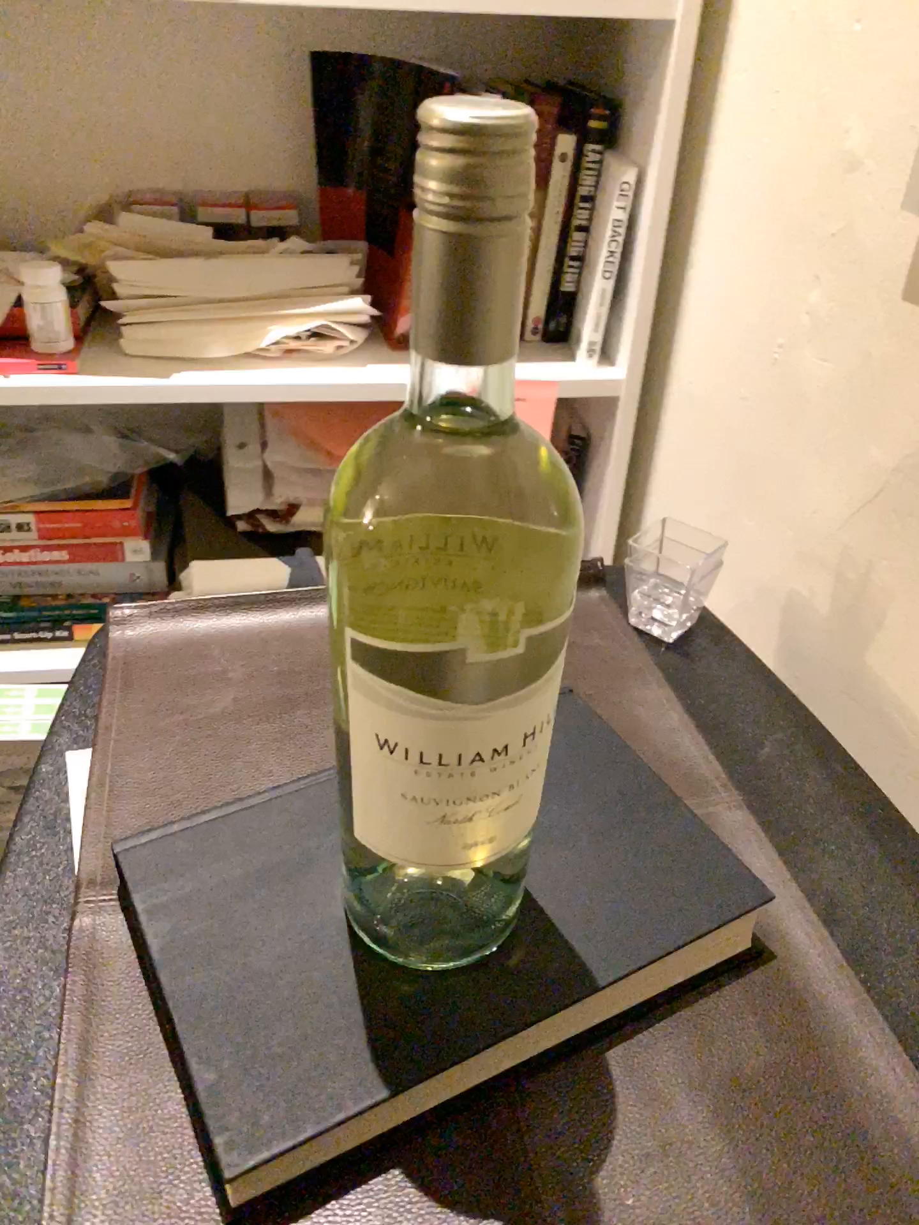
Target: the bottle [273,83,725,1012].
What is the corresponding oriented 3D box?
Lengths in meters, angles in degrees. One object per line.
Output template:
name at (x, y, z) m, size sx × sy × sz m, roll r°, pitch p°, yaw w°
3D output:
bottle at (-0.003, -0.004, 0.321) m, size 0.090 × 0.298 × 0.091 m, roll 2°, pitch 34°, yaw -1°
